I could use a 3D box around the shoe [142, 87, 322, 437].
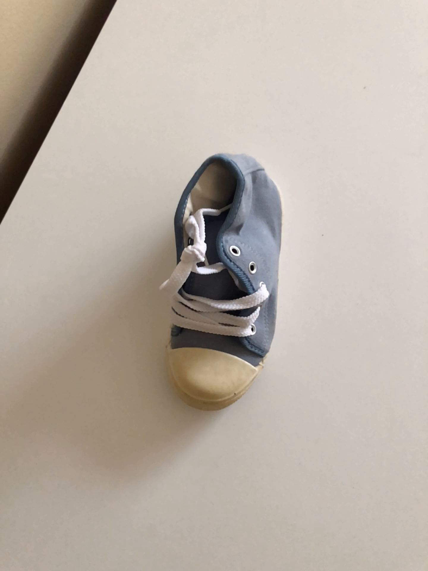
[{"bbox_3d":[0.011,-0.011,0.314,0.080,0.100,0.190,7,81,-1],"label":"shoe"}]
